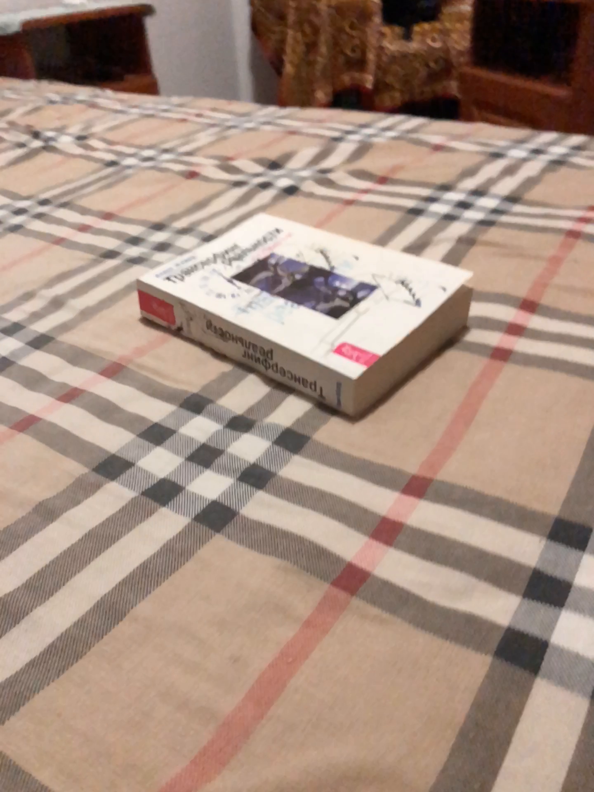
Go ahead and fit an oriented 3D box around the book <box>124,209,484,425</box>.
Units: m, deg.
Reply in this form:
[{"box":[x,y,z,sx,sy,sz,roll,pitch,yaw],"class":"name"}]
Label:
[{"box":[0.002,-0.070,0.461,0.202,0.037,0.143,26,44,32],"class":"book"}]
